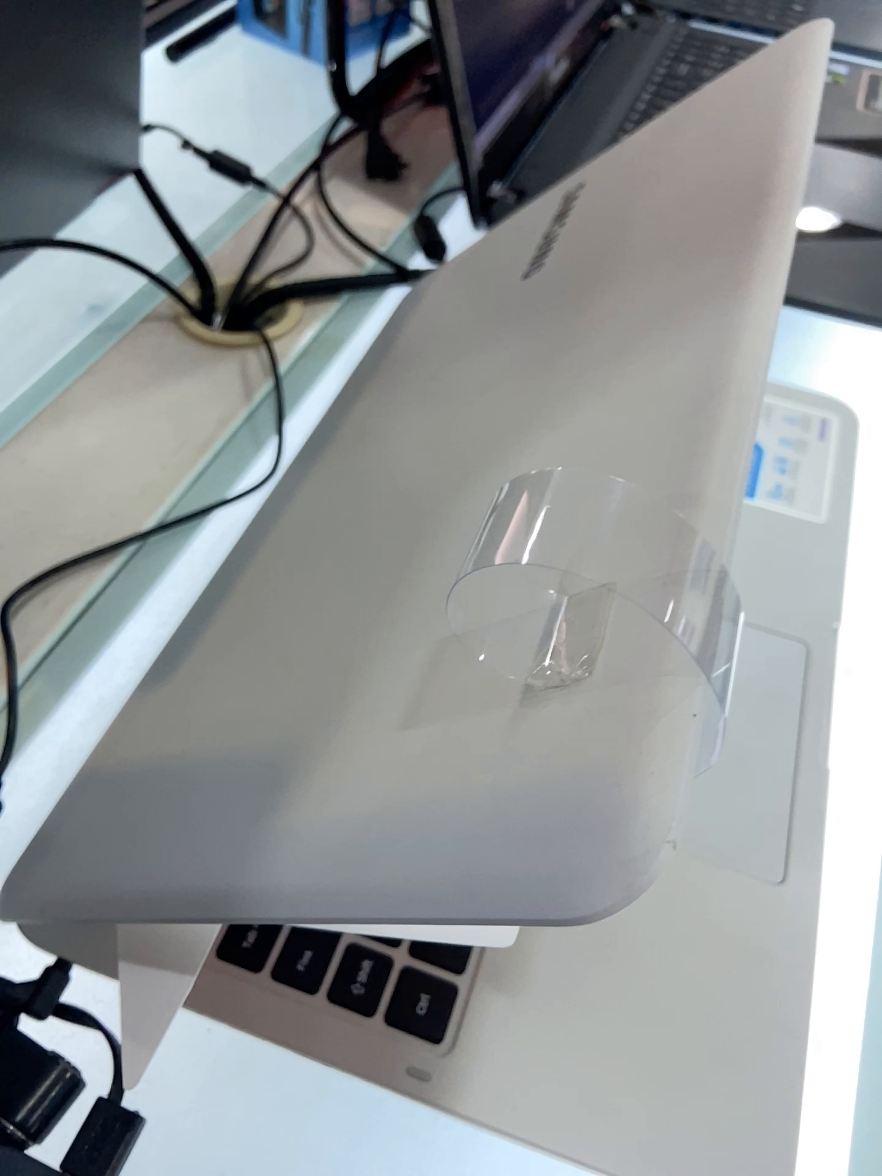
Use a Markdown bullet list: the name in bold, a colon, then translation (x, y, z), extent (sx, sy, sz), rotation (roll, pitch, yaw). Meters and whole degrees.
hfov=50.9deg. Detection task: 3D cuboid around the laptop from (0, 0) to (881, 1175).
- **laptop**: translation (0.043, -0.048, 0.316), extent (0.232, 0.162, 0.369), rotation (17, 51, 10)
